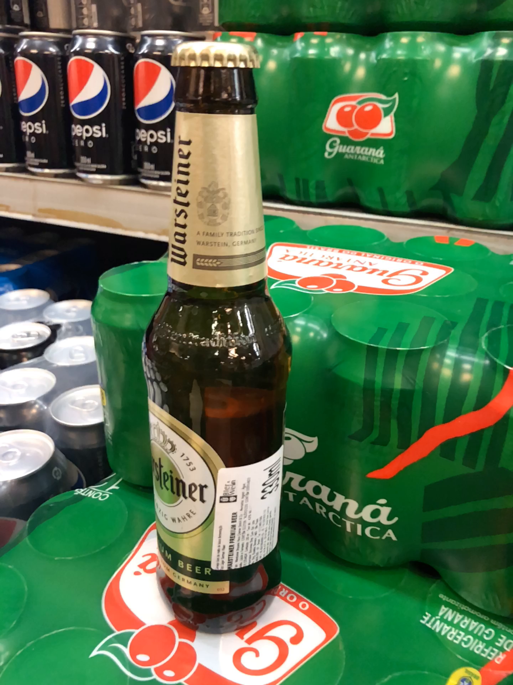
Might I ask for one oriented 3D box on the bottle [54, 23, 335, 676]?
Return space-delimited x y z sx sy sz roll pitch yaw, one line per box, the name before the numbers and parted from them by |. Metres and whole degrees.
bottle | -0.022 0.010 0.222 0.060 0.228 0.070 -14 29 -29
